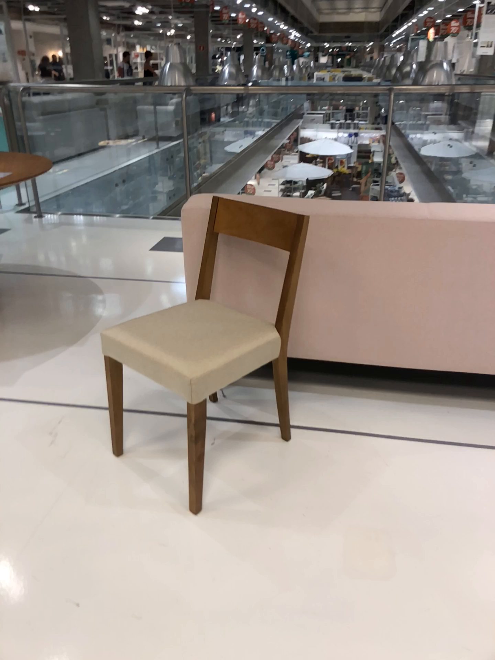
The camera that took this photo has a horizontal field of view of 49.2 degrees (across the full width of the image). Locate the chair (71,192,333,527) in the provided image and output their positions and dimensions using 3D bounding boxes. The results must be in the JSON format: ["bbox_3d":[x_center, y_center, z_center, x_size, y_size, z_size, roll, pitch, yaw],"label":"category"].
[{"bbox_3d":[-0.124,0.041,1.758,0.592,0.814,0.492,-23,33,-40],"label":"chair"}]
